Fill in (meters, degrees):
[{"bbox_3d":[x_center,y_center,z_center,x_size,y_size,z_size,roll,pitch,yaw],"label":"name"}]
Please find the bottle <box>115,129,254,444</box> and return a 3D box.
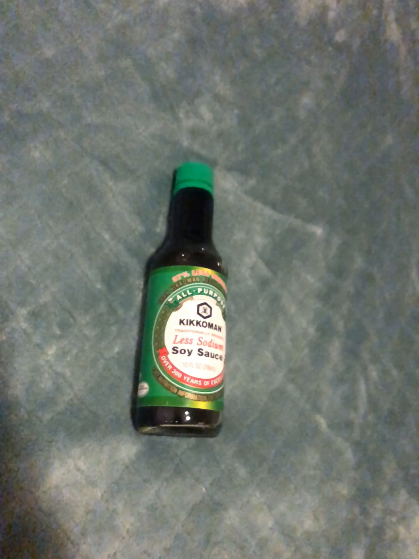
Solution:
[{"bbox_3d":[-0.015,0.007,0.339,0.070,0.060,0.210,13,67,-29],"label":"bottle"}]
